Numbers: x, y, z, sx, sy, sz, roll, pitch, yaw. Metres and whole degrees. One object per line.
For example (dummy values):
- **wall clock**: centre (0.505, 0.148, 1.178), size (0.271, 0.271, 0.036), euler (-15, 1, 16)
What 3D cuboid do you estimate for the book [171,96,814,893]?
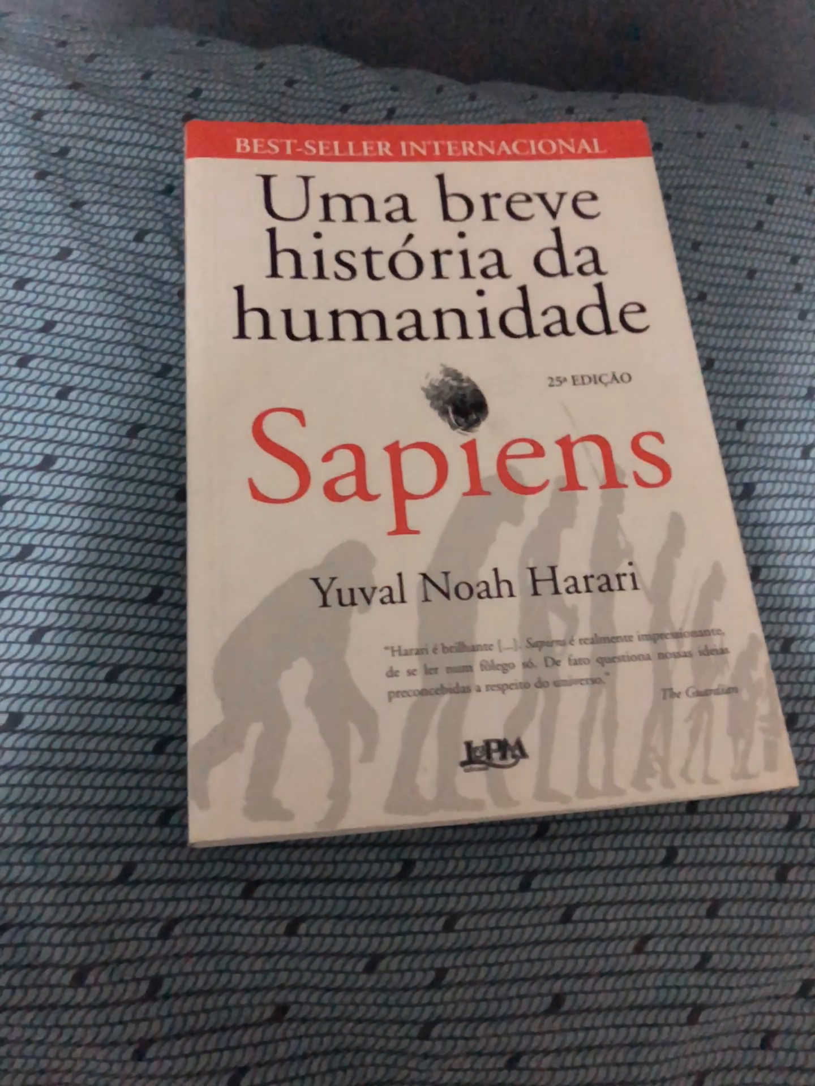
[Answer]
- **book**: centre (0.013, -0.029, 0.281), size (0.160, 0.040, 0.240), euler (-3, 69, -9)
